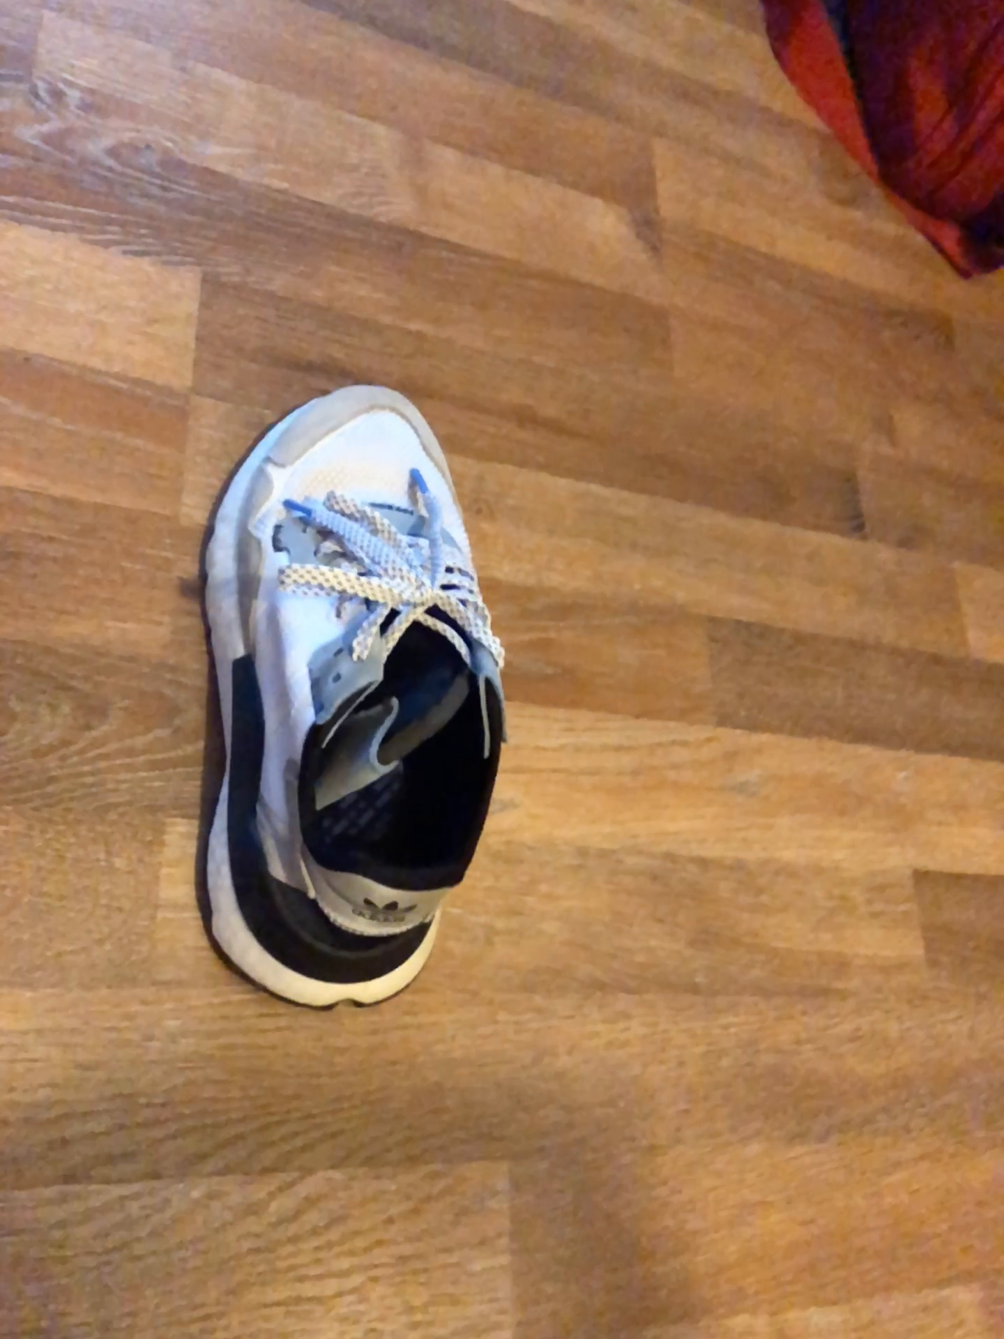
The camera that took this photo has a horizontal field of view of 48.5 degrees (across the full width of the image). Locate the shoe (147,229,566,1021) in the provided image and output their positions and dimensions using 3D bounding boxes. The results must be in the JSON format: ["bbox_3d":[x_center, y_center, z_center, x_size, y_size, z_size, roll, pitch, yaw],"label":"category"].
[{"bbox_3d":[-0.059,-0.010,0.430,0.113,0.110,0.271,8,67,-24],"label":"shoe"}]
